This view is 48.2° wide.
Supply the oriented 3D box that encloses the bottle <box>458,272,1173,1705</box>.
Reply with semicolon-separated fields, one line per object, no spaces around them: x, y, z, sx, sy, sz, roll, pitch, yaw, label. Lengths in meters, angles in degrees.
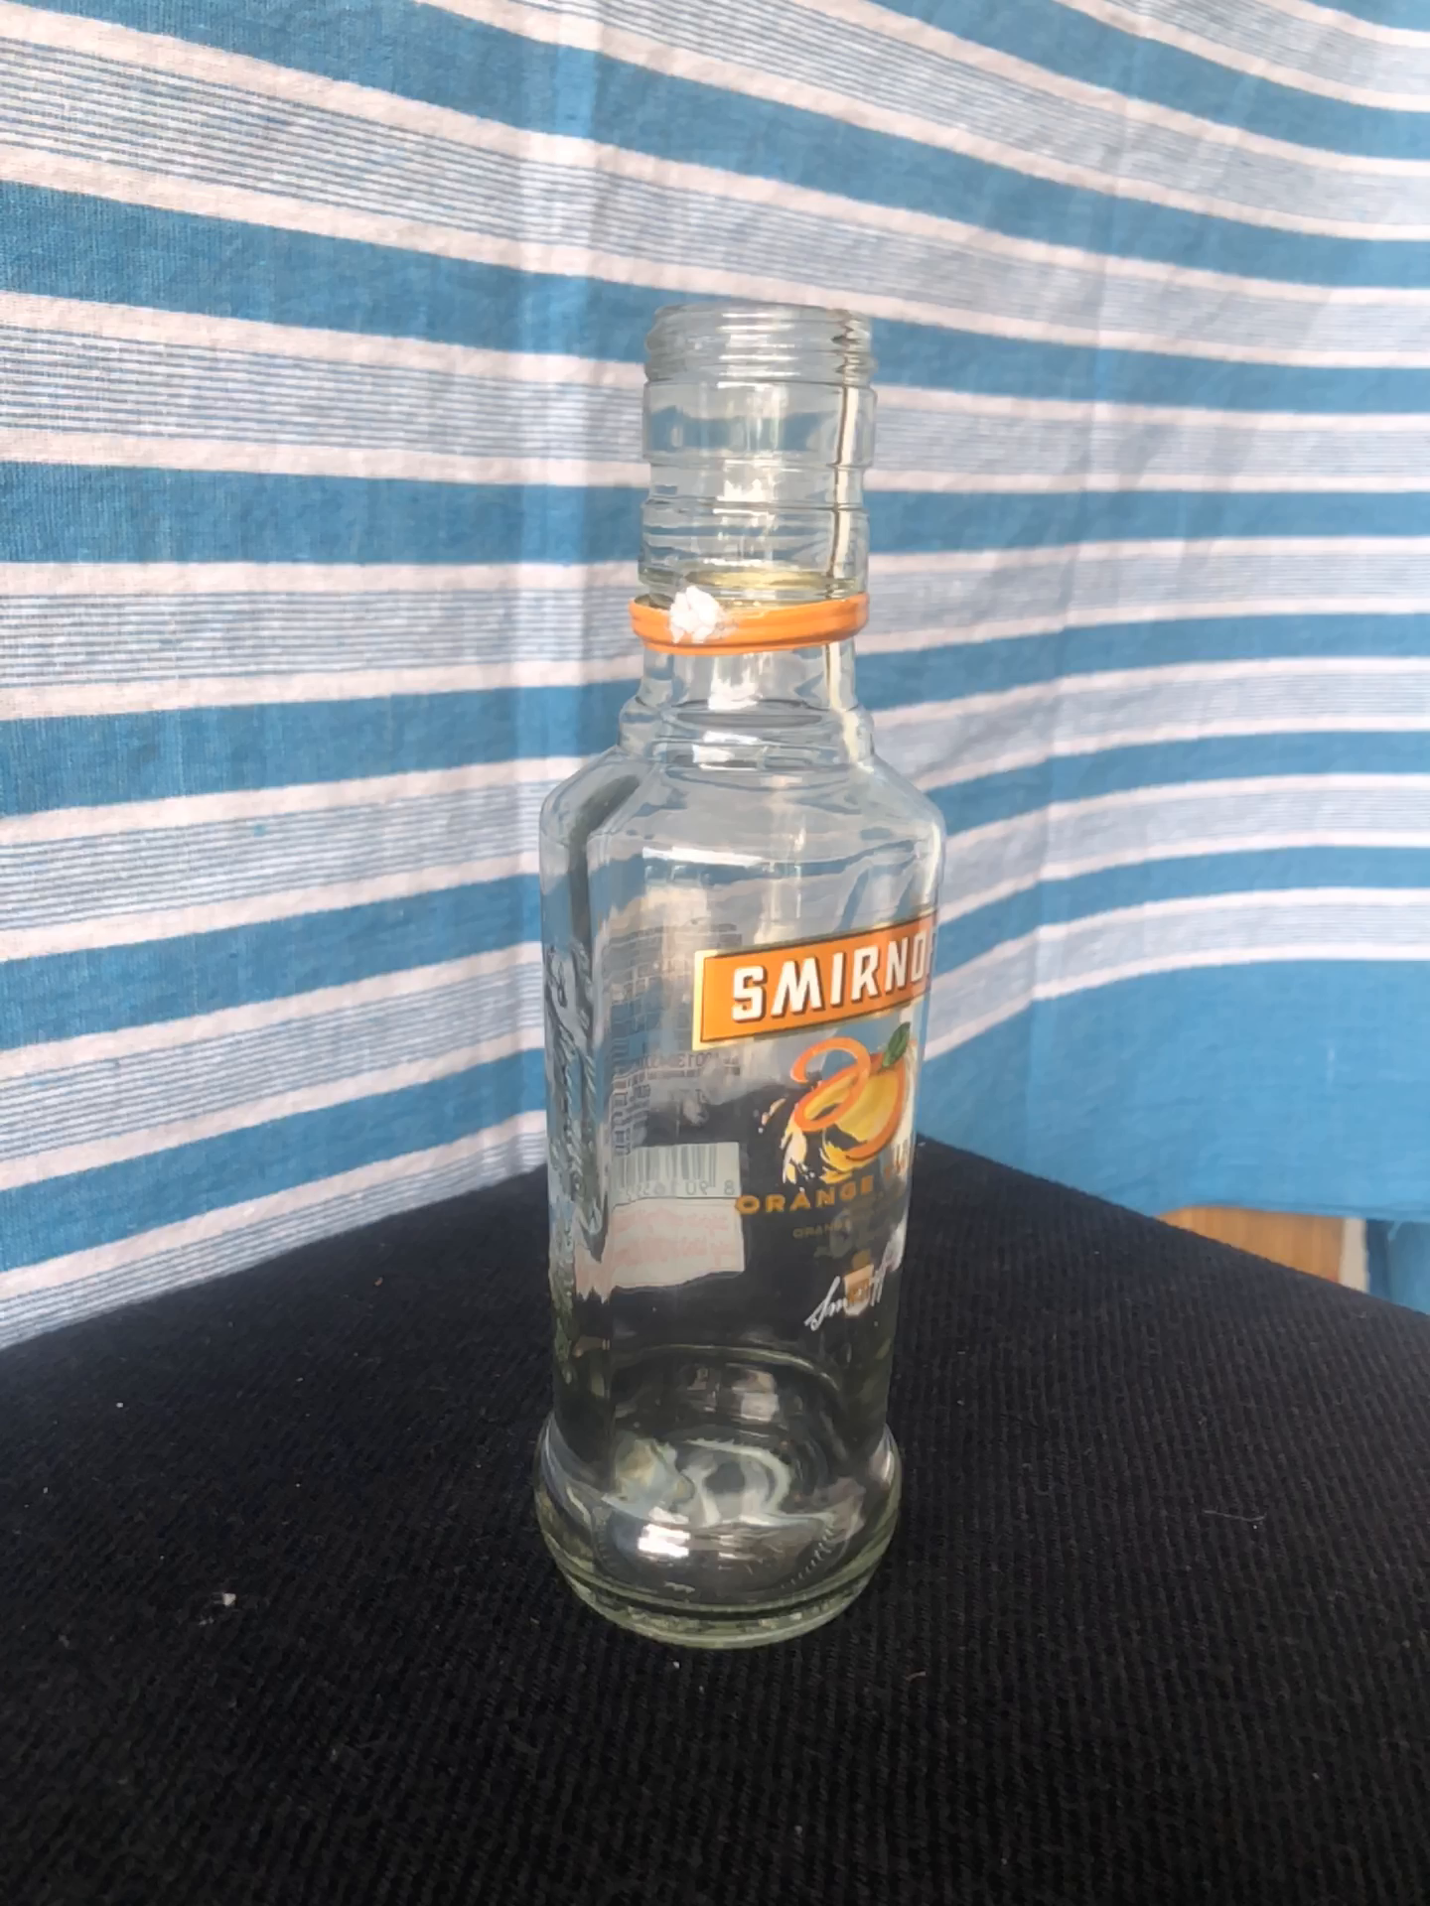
0.008;0.005;0.216;0.060;0.169;0.050;-5;19;-35;bottle
